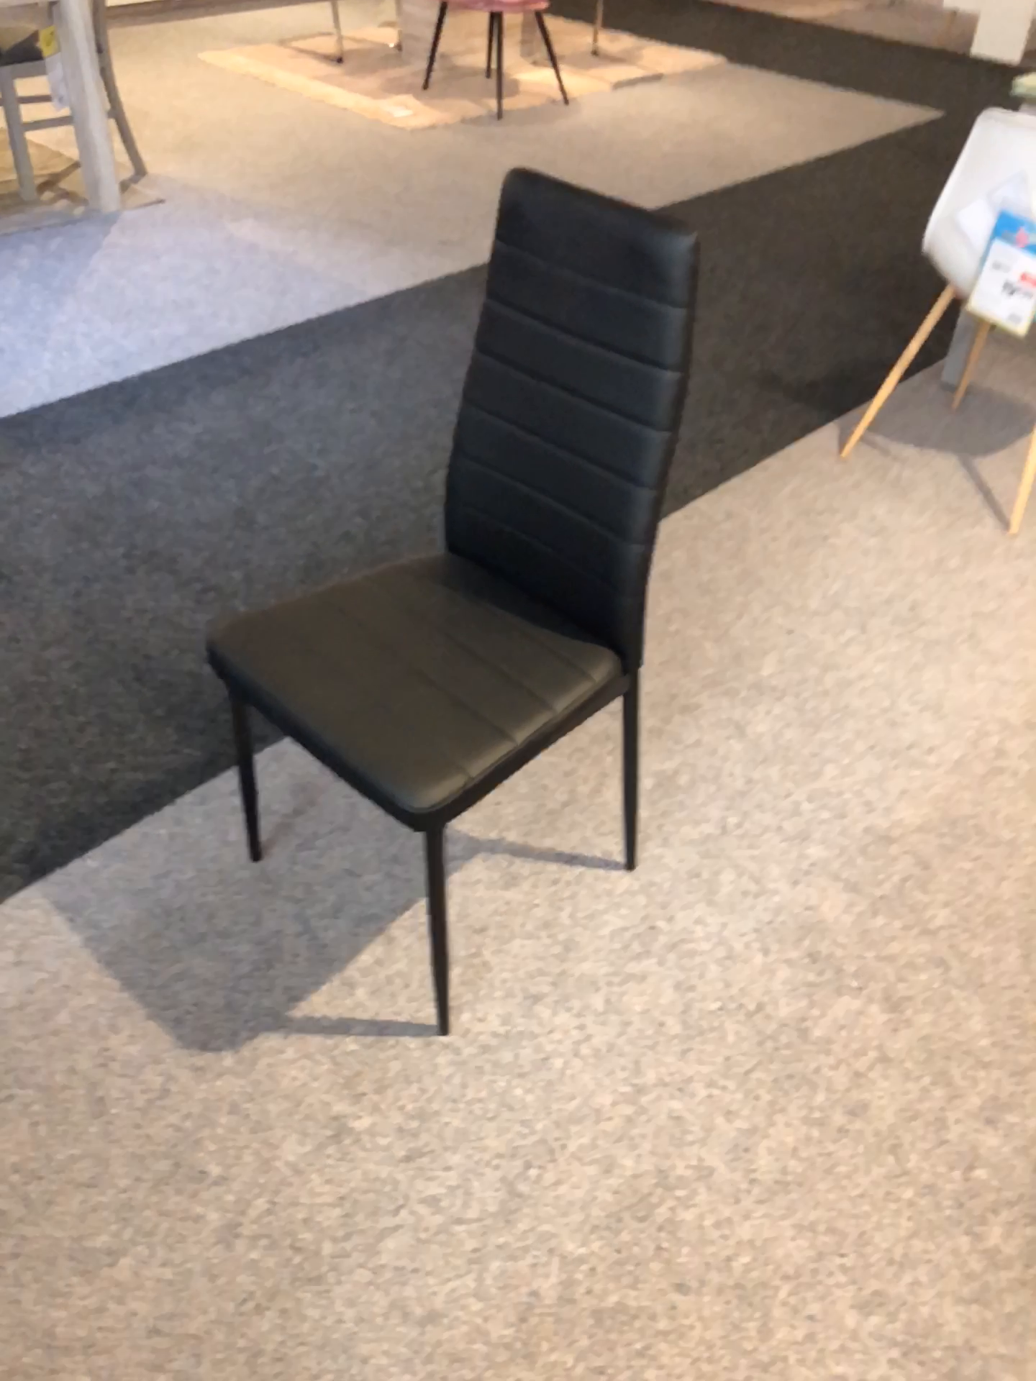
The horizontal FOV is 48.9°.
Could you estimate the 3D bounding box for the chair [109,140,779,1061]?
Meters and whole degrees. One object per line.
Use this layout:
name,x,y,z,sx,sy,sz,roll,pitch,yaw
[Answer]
chair,-0.091,-0.097,1.427,0.473,0.934,0.470,-30,50,-34
